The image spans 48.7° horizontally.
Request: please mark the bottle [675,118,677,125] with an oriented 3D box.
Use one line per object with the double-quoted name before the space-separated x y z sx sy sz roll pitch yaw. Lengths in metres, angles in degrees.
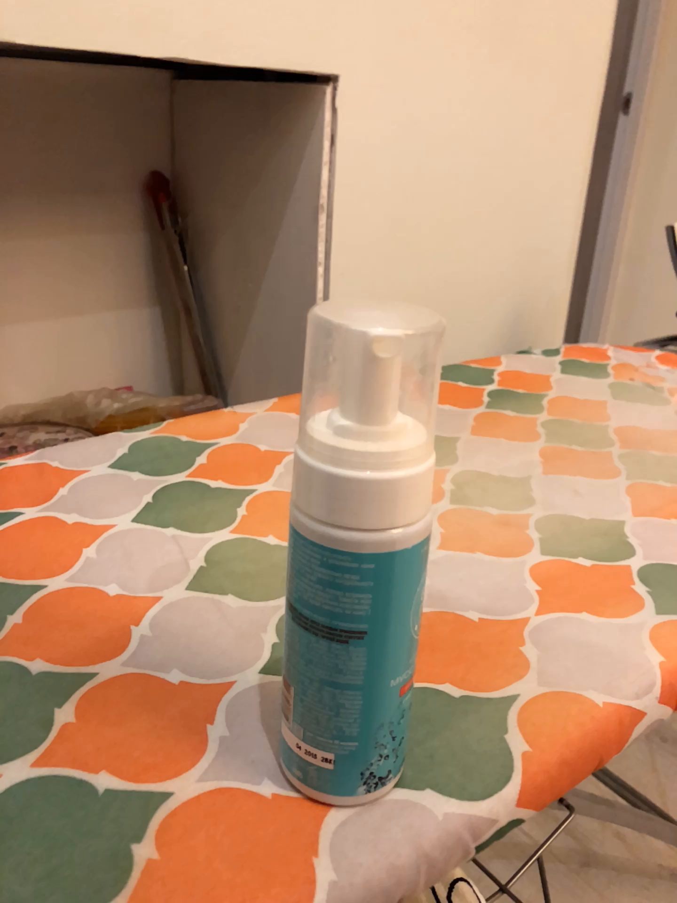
"bottle" 7.087 -6.834 15.487 0.079 0.090 0.296 -10 19 -7
